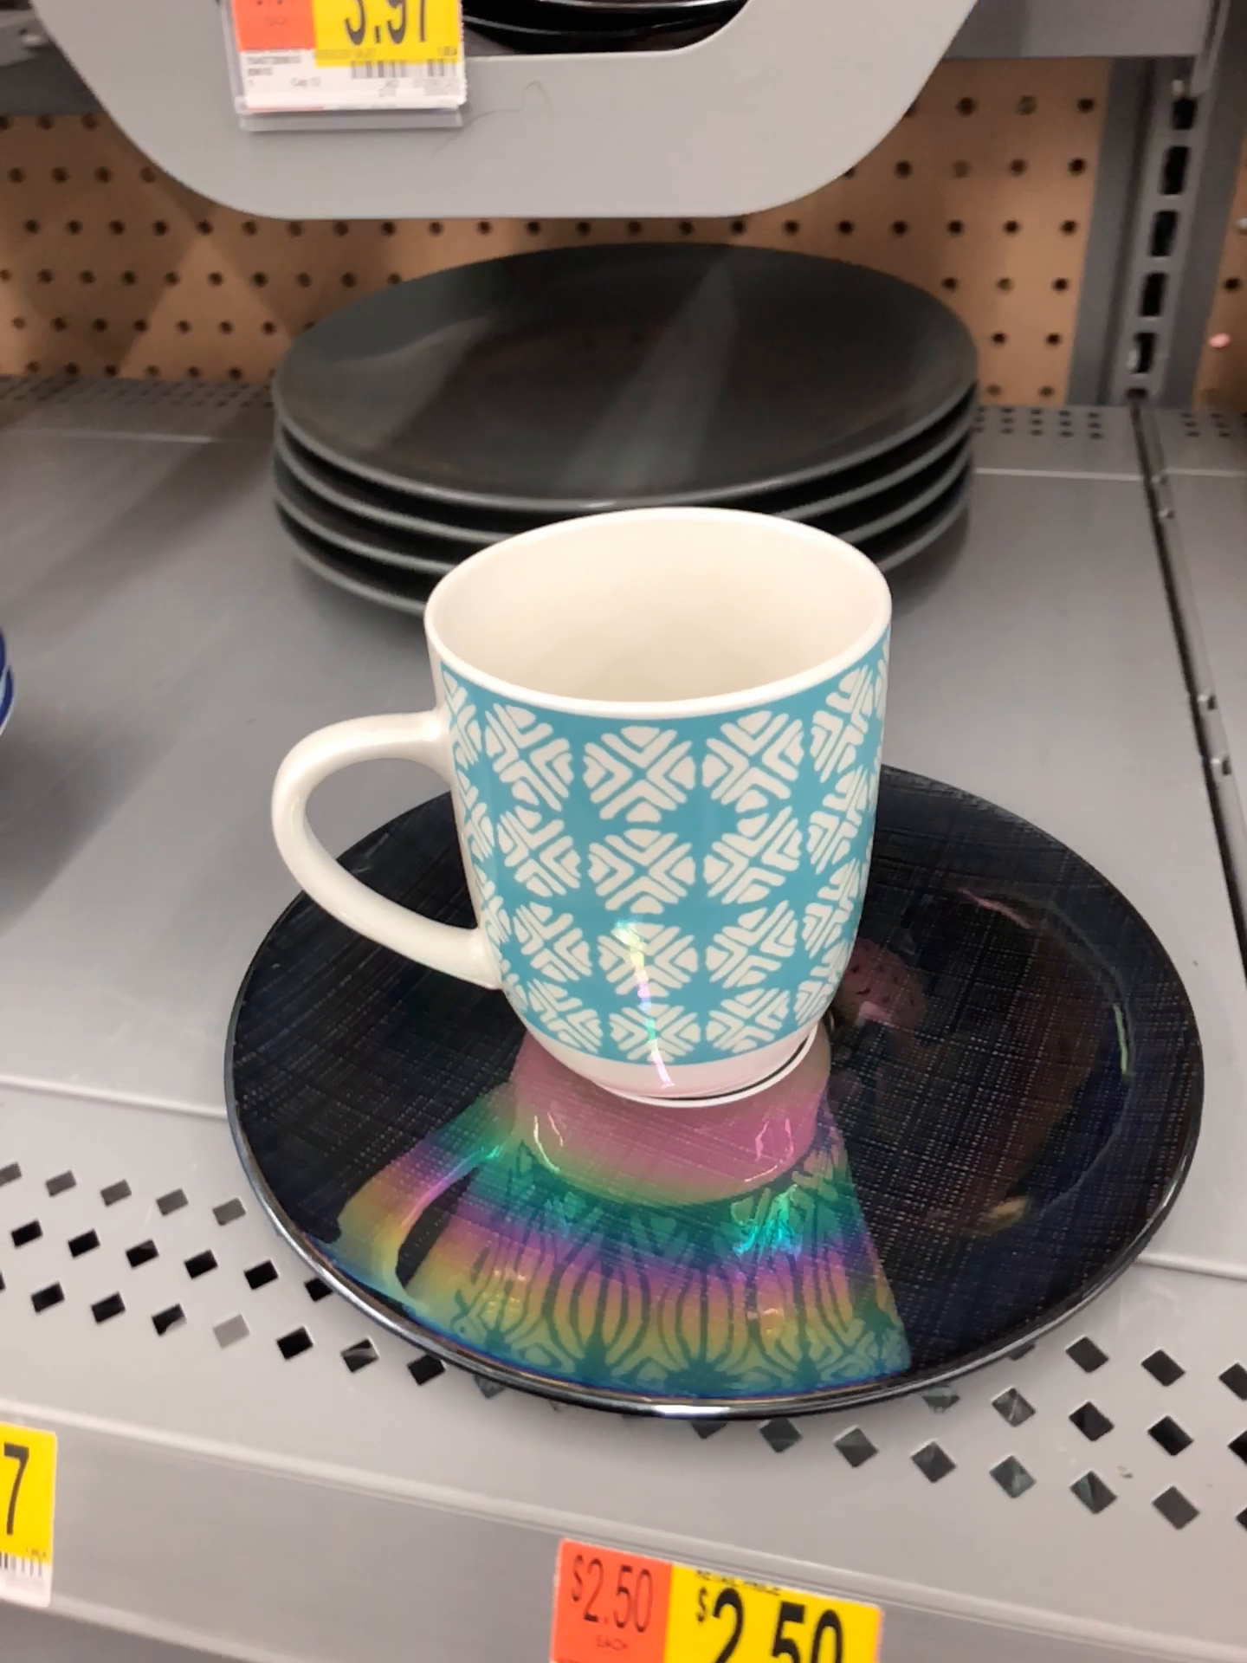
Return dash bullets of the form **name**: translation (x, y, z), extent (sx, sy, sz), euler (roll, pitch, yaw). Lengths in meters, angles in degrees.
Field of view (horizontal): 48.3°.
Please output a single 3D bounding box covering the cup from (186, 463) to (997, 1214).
- **cup**: translation (-0.008, -0.003, 0.272), extent (0.122, 0.098, 0.090), euler (-8, 36, -6)
